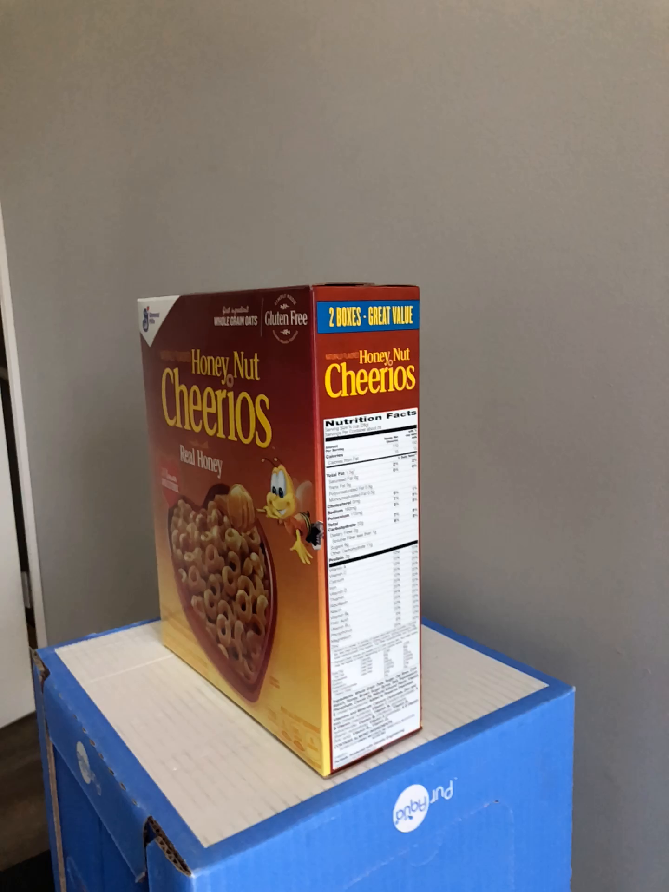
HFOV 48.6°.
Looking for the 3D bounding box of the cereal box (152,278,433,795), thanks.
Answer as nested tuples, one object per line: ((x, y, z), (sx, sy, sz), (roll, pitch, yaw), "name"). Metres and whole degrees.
((-0.041, 0.041, 0.549), (0.080, 0.309, 0.240), (-8, 11, -34), "cereal box")
